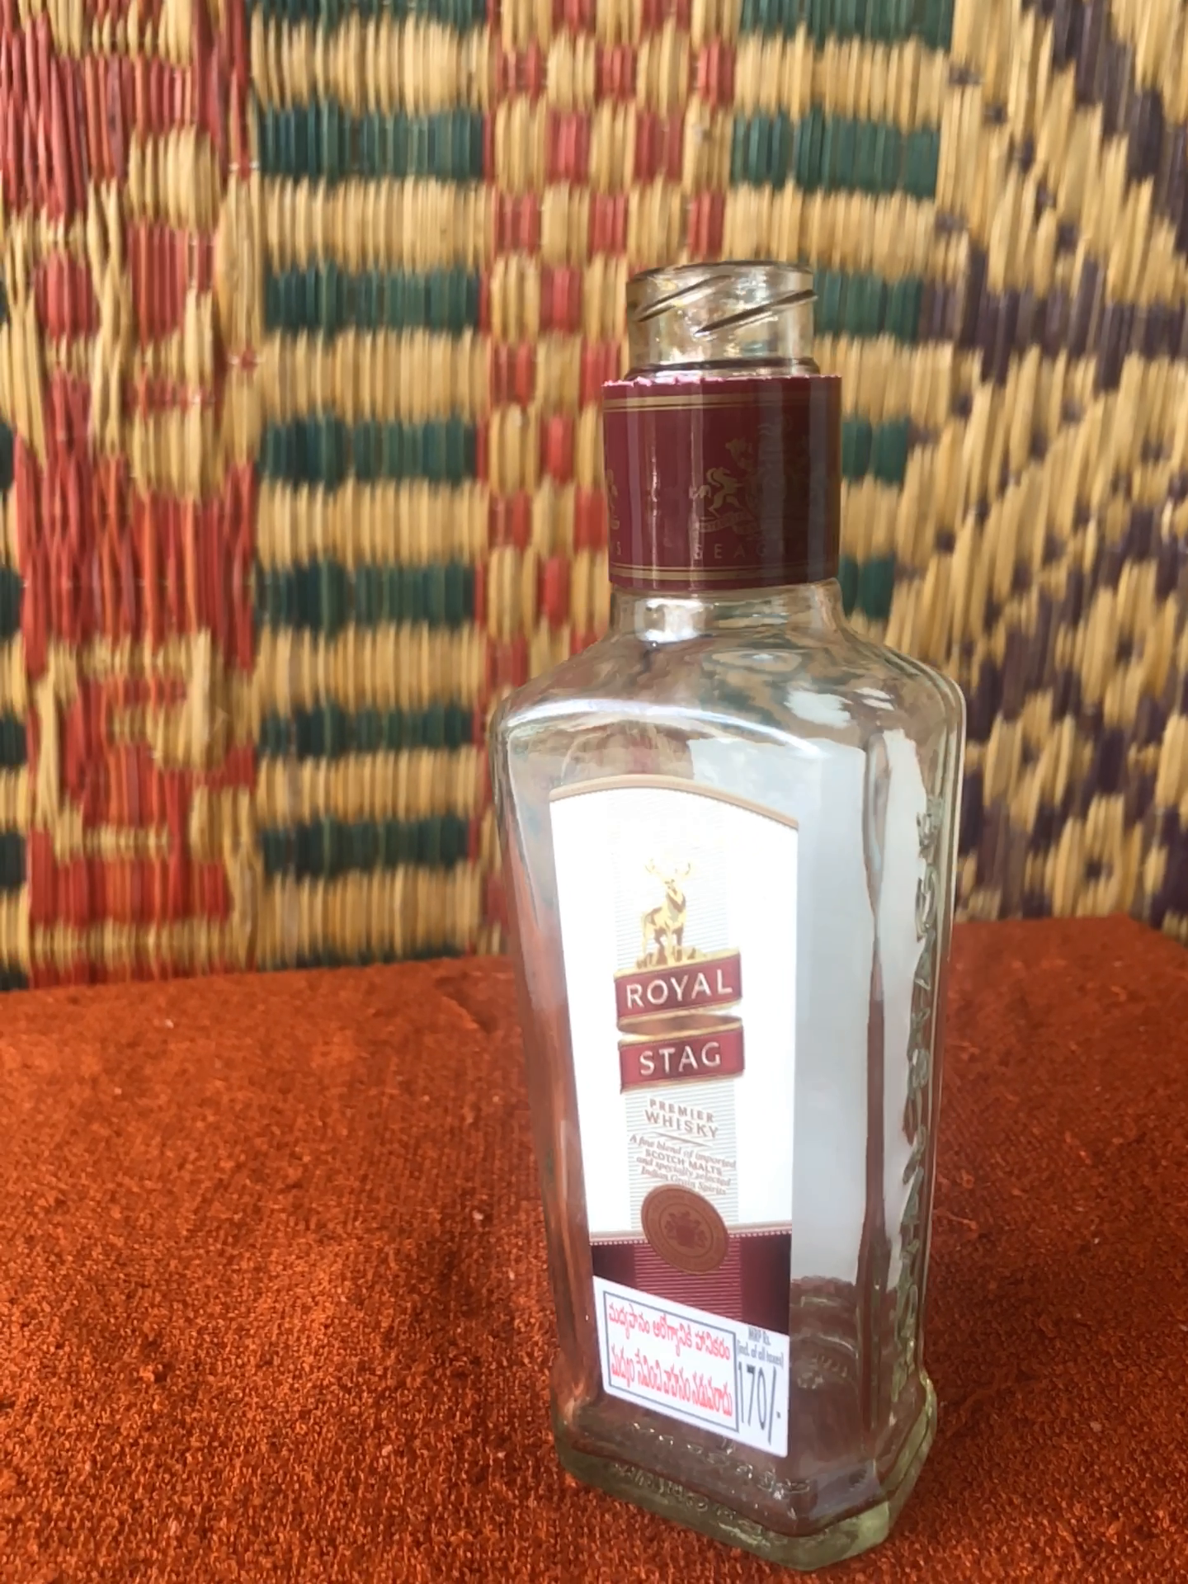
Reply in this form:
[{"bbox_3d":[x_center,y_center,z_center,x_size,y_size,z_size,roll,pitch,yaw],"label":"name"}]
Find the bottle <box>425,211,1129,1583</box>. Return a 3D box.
[{"bbox_3d":[0.025,0.014,0.175,0.060,0.159,0.060,-1,18,0],"label":"bottle"}]
